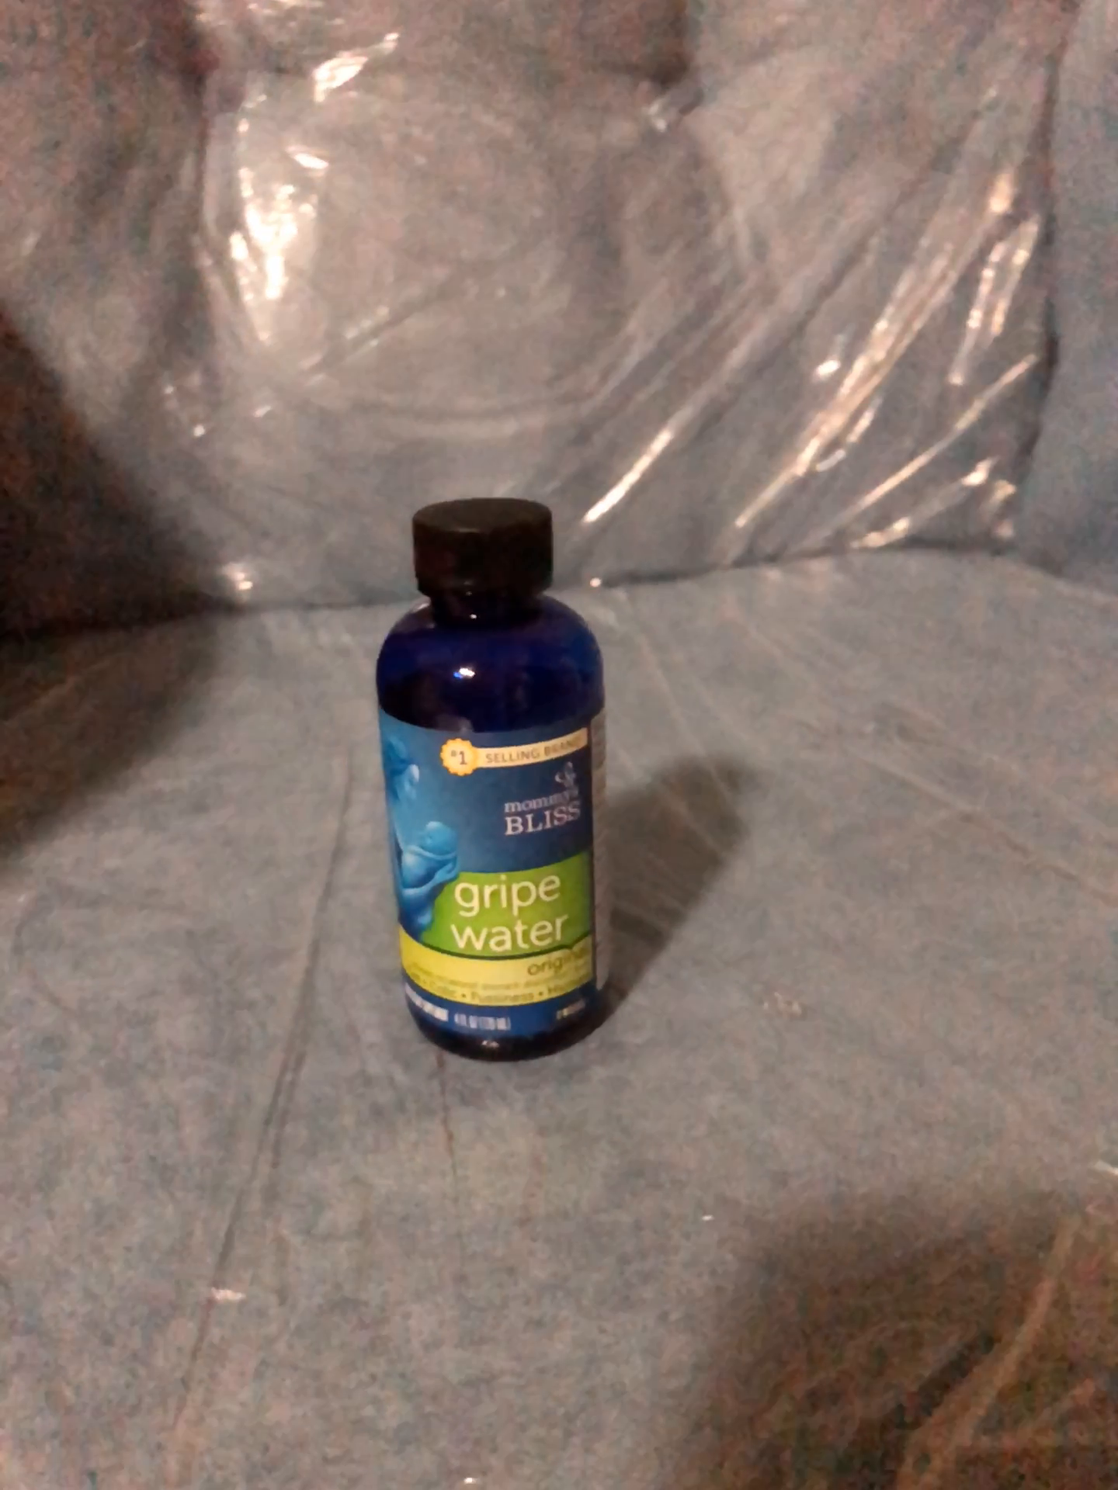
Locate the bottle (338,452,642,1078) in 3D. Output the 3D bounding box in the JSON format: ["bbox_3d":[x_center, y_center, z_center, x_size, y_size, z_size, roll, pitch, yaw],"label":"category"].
[{"bbox_3d":[-0.009,0.004,0.262,0.050,0.120,0.050,-1,26,1],"label":"bottle"}]
